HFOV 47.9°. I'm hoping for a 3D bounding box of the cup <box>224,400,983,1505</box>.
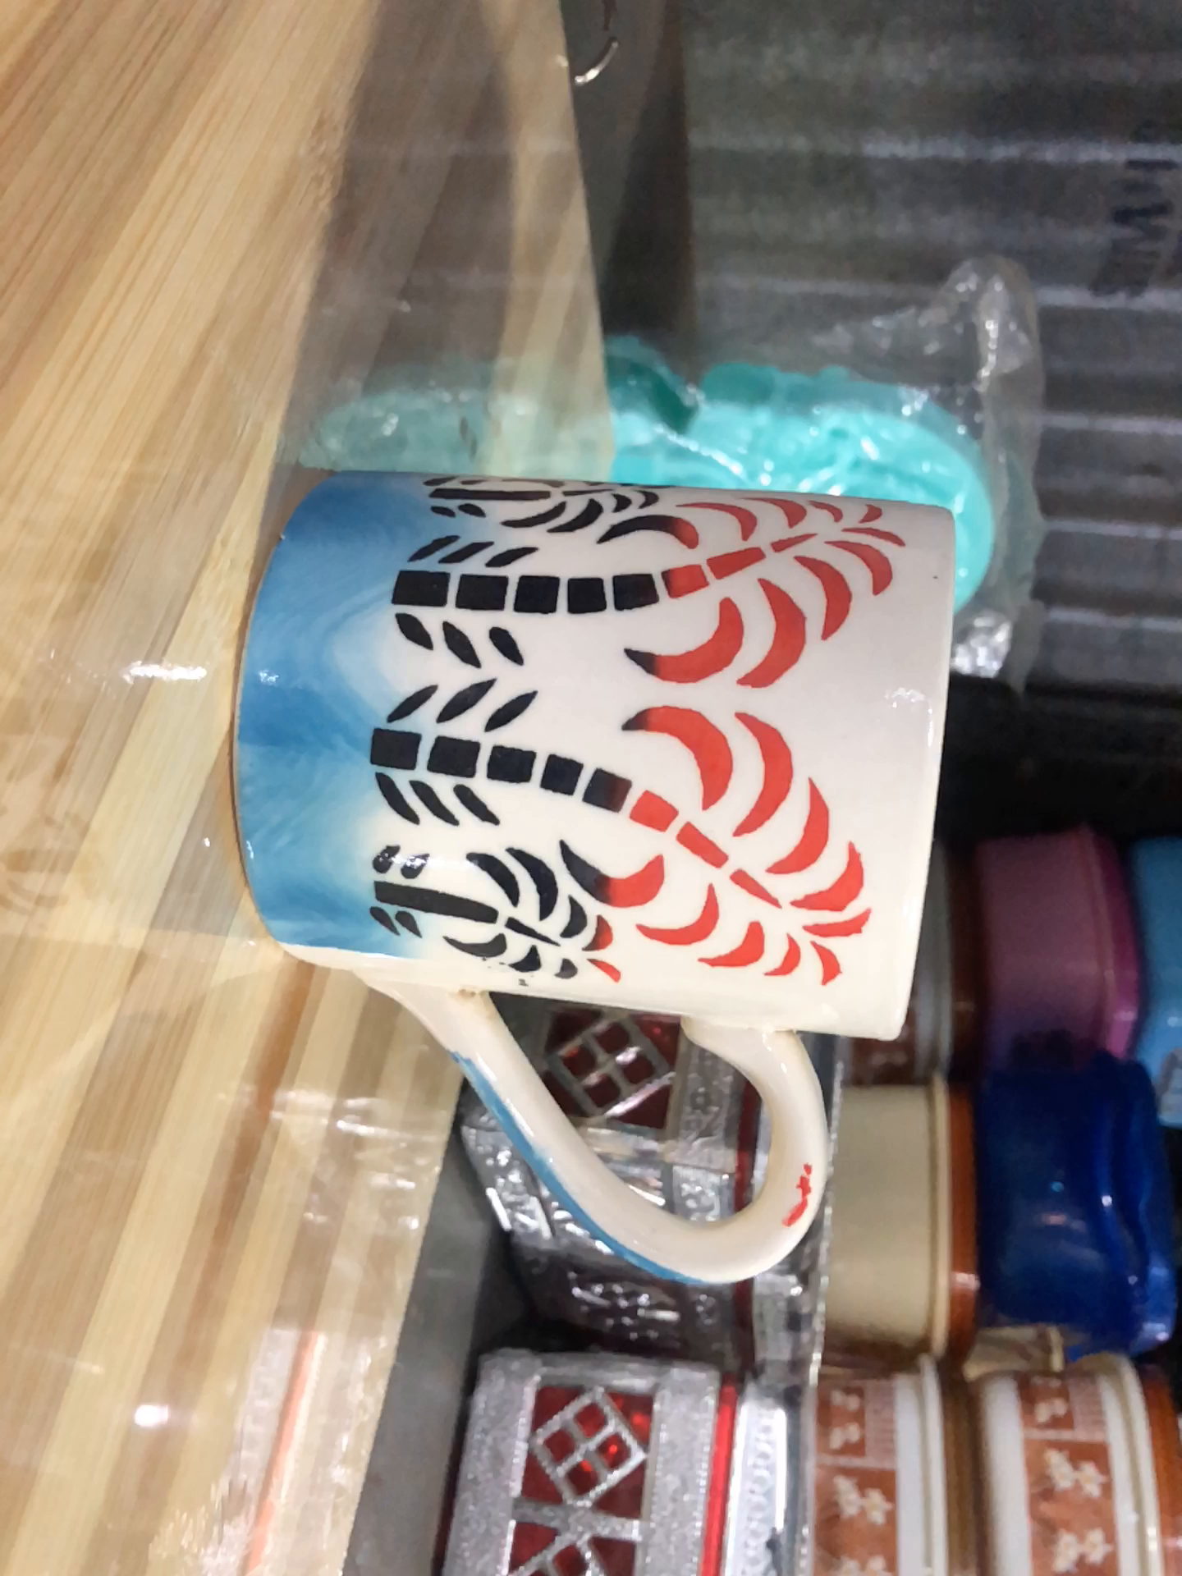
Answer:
[{"bbox_3d":[0.006,0.013,0.199,0.100,0.080,0.120,-35,129,-78],"label":"cup"}]
